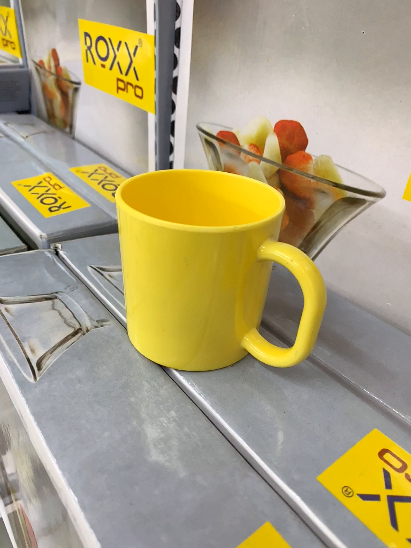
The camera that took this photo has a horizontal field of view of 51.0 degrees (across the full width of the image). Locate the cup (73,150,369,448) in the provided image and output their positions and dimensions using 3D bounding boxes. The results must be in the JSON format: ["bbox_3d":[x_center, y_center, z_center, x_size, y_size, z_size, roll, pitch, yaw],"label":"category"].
[{"bbox_3d":[0.001,0.001,0.196,0.100,0.079,0.070,29,38,34],"label":"cup"}]
